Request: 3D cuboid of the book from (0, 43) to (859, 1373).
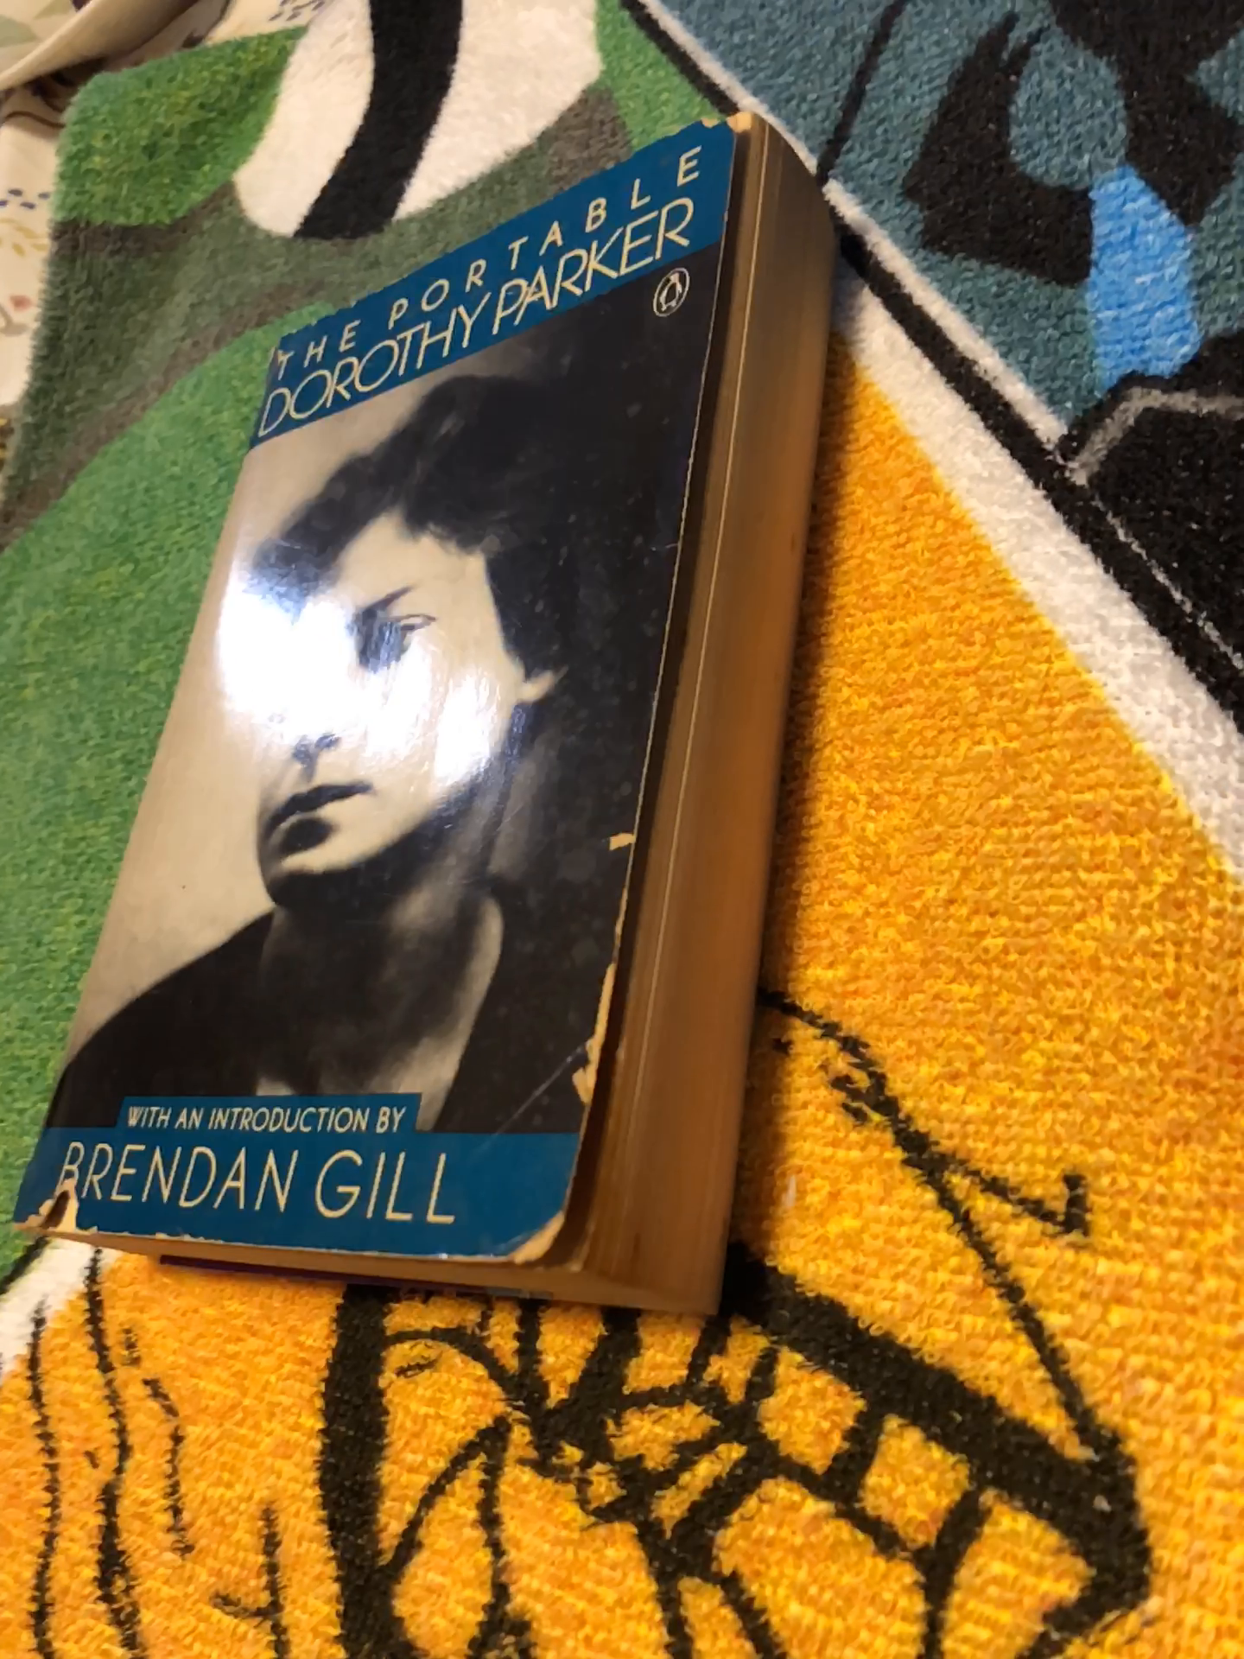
[{"bbox_3d":[-0.039,-0.022,0.242,0.140,0.040,0.200,-8,62,34],"label":"book"}]
